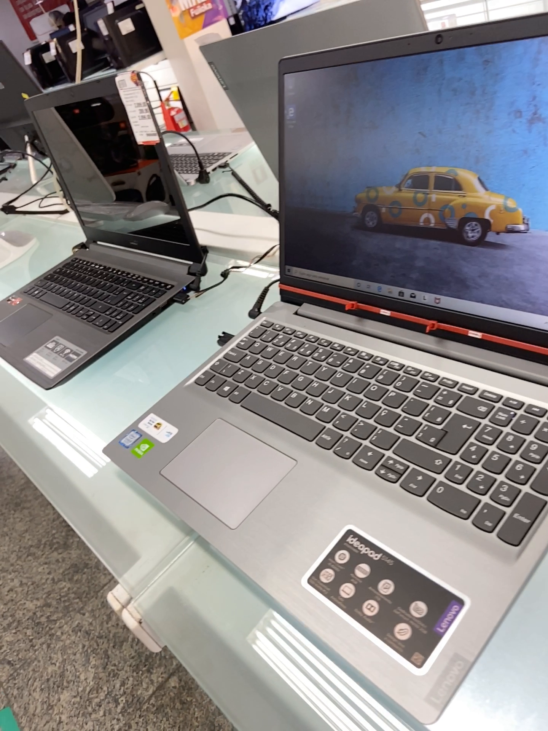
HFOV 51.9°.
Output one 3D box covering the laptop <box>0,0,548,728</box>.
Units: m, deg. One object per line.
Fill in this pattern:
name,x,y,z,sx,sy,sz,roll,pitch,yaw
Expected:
laptop,0.040,-0.063,0.411,0.352,0.214,0.365,-42,38,-24
